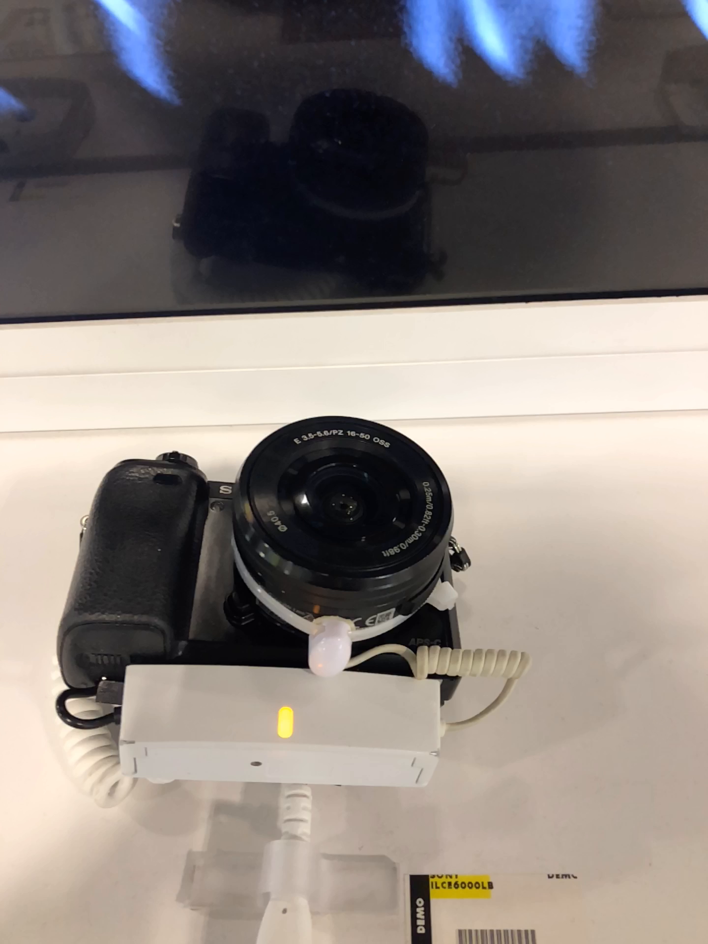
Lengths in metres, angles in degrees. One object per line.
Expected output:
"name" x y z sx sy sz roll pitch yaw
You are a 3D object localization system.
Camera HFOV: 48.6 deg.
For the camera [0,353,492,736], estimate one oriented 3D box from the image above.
"camera" -0.033 0.023 0.250 0.130 0.070 0.091 4 49 -3
